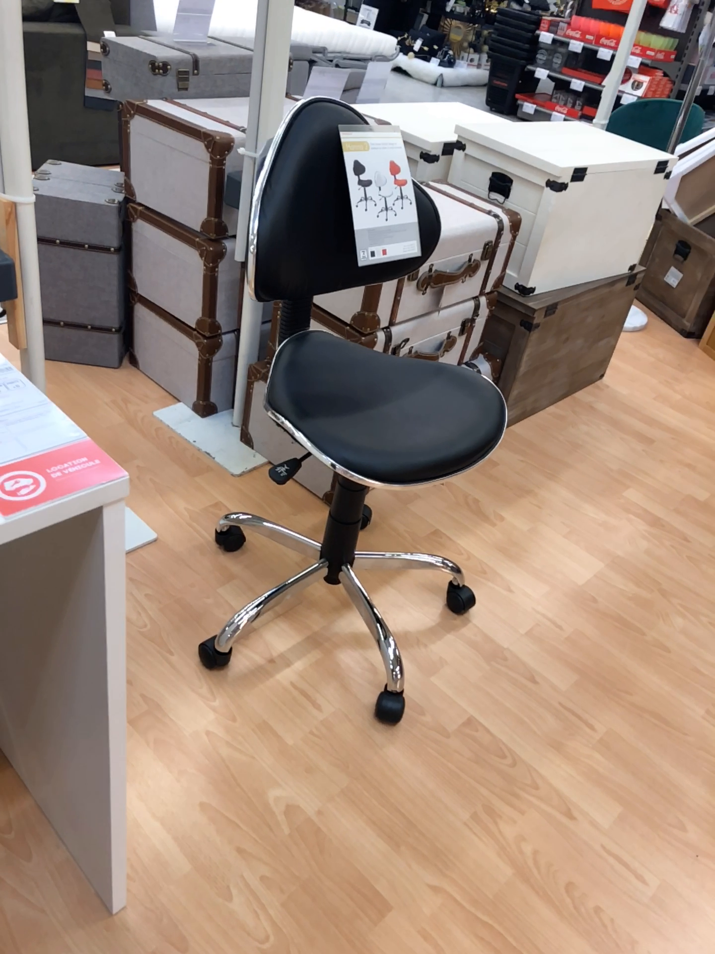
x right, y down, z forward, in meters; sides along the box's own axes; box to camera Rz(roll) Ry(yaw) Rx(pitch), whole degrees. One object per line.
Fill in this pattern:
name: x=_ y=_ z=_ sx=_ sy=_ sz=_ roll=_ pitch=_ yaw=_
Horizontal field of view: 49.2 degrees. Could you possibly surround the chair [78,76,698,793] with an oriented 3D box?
chair: x=0.000 y=-0.117 z=1.295 sx=0.610 sy=0.854 sz=0.604 roll=32 pitch=40 yaw=26
